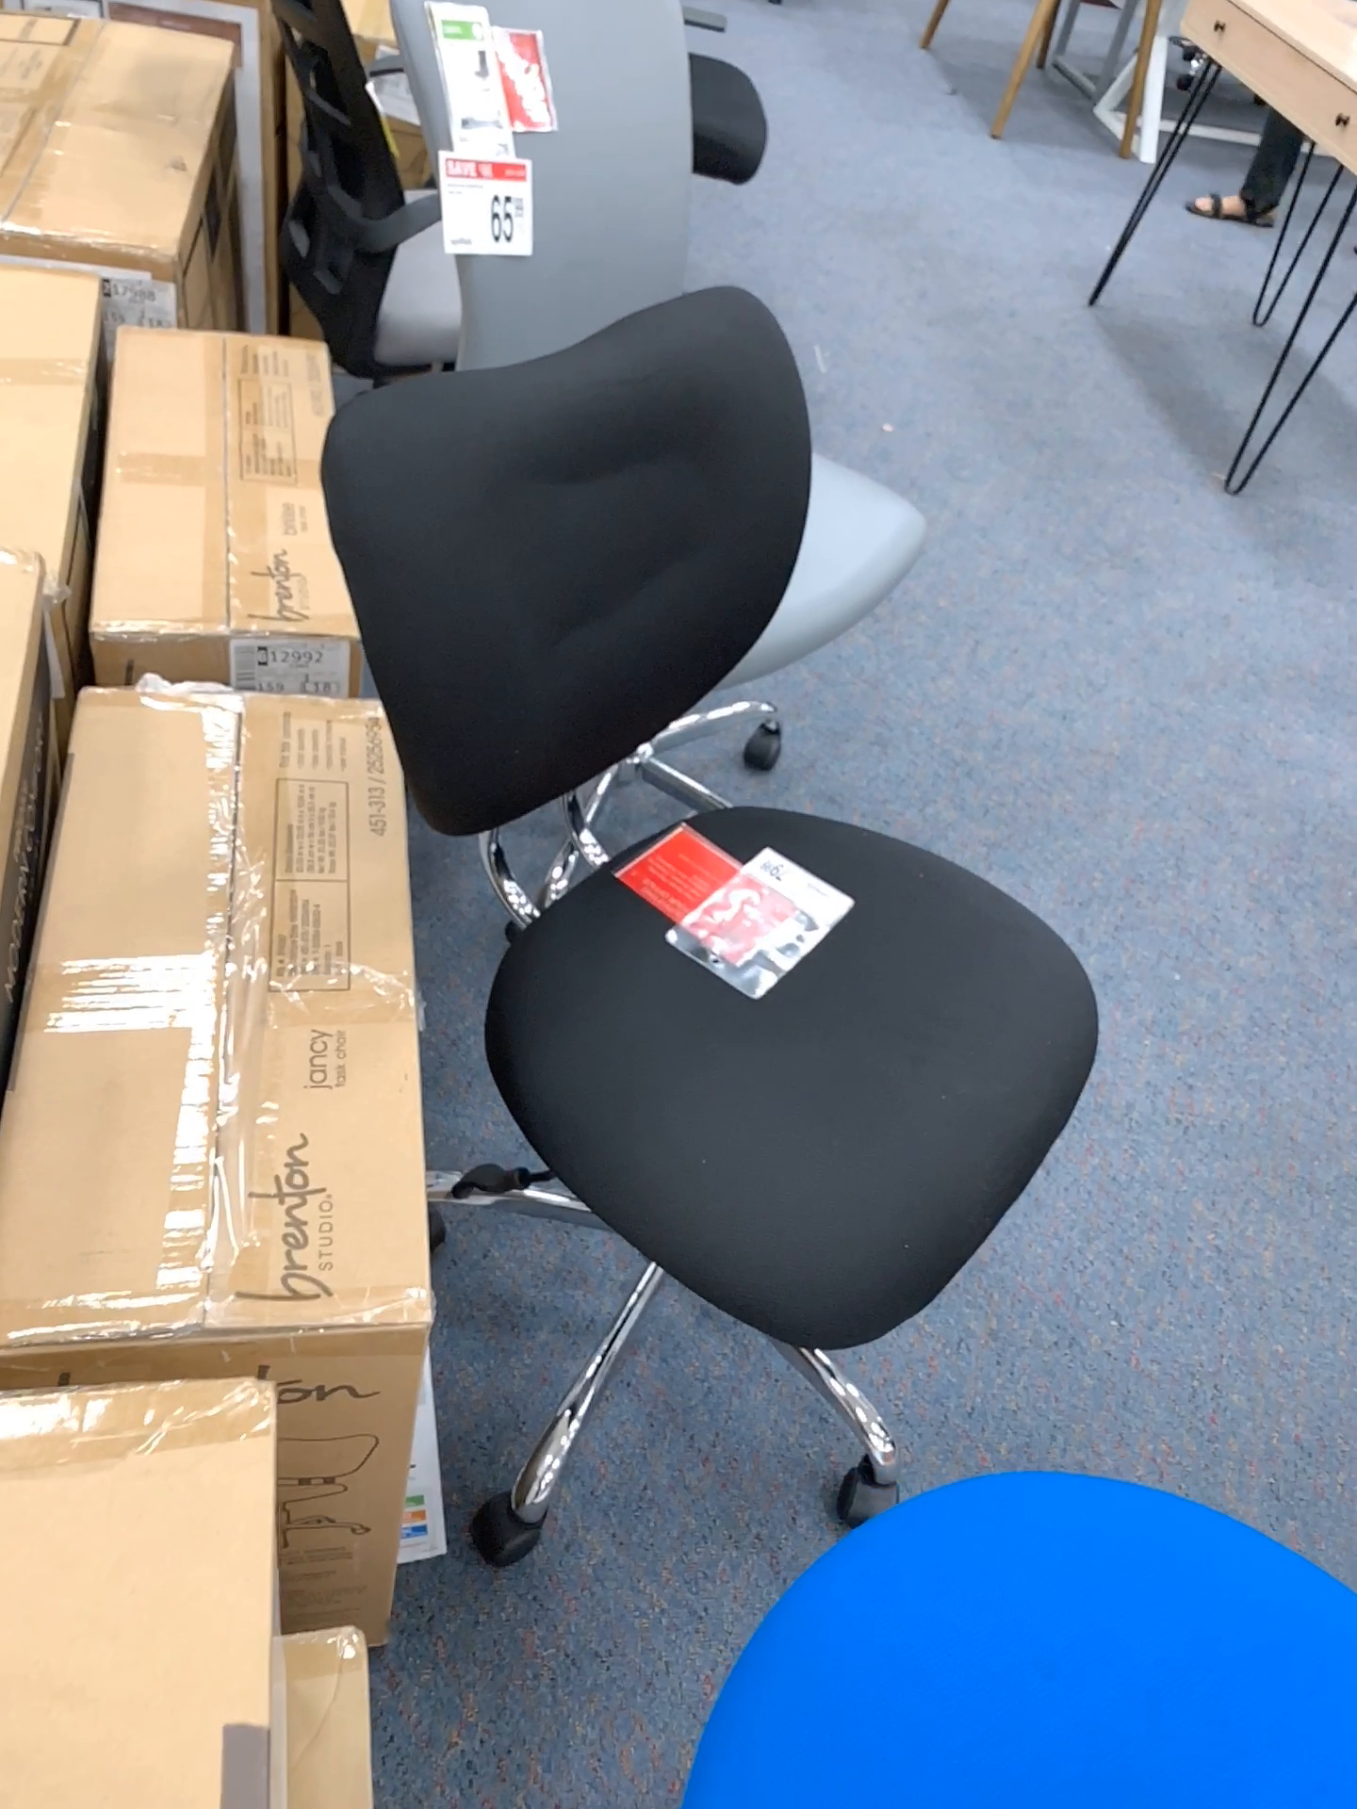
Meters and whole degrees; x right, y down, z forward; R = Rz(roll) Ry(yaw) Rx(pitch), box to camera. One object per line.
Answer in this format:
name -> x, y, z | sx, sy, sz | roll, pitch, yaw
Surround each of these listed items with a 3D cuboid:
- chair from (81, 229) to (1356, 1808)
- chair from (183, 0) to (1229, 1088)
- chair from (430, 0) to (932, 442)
chair -> 0.071, 0.094, 1.109 | 0.658, 0.880, 0.649 | 35, 48, 21
chair -> -0.003, -0.488, 1.633 | 0.708, 0.960, 0.740 | 31, 47, 17
chair -> -0.067, -1.654, 2.739 | 0.707, 0.989, 0.981 | 5, 45, -8
